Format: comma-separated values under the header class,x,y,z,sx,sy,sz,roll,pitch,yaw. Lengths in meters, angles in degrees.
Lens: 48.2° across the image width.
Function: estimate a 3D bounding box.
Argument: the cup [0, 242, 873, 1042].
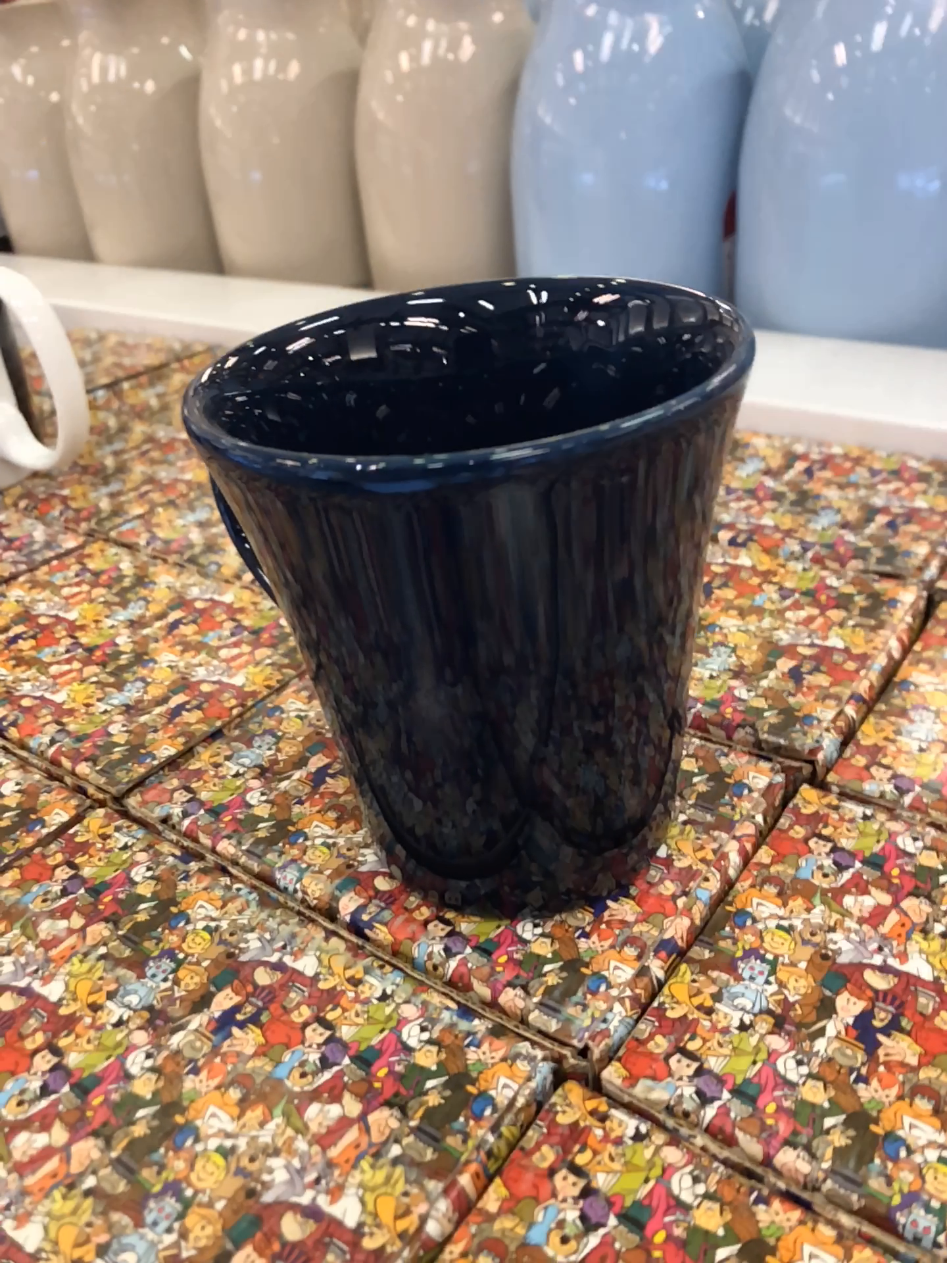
class,x,y,z,sx,sy,sz,roll,pitch,yaw
cup,-0.005,-0.014,0.203,0.120,0.089,0.101,16,38,33
